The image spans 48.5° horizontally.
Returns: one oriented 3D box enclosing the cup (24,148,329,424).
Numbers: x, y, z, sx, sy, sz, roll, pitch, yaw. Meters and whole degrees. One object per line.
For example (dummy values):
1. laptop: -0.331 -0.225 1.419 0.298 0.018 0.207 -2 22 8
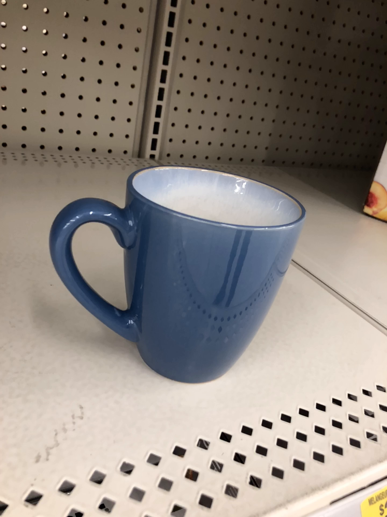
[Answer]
1. cup: -0.020 0.005 0.238 0.128 0.098 0.097 -3 29 -27
